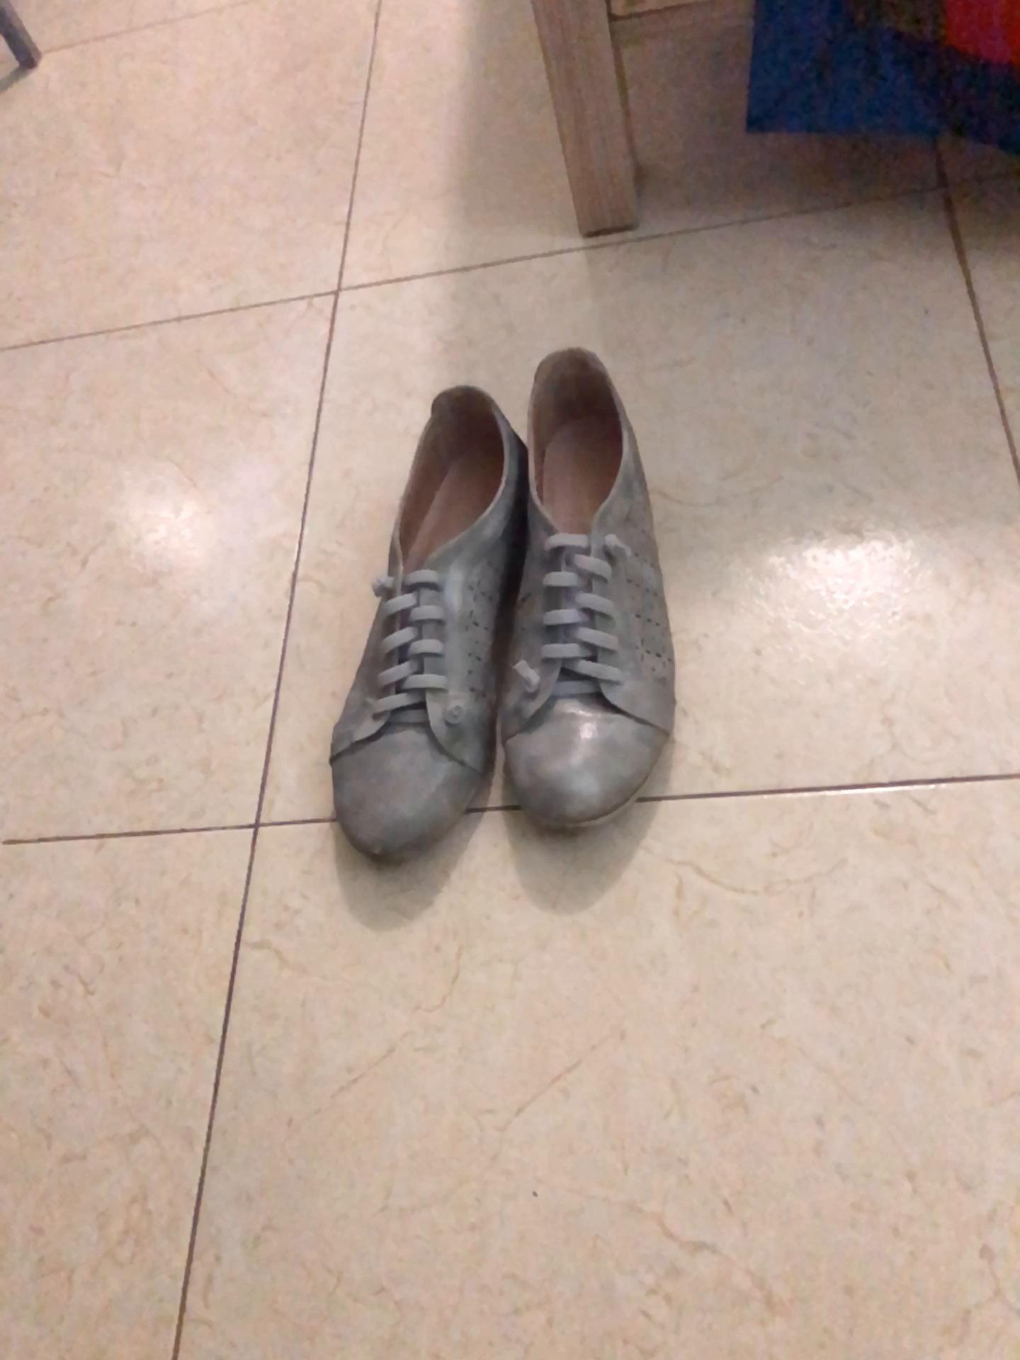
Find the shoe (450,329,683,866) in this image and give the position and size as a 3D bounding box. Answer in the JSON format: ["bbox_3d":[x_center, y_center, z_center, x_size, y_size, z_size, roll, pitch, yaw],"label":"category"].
[{"bbox_3d":[0.038,-0.052,0.640,0.100,0.100,0.290,-5,59,13],"label":"shoe"}]

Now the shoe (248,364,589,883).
[{"bbox_3d":[-0.040,-0.043,0.663,0.100,0.100,0.290,5,61,18],"label":"shoe"}]
